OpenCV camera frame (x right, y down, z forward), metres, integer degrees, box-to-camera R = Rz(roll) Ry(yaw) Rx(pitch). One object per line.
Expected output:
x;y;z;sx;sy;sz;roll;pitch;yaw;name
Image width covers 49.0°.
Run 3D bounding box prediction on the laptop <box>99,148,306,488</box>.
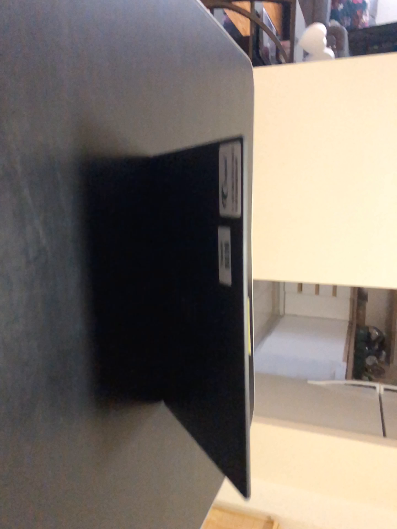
0.043;0.024;0.587;0.369;0.141;0.319;-24;115;-66;laptop
